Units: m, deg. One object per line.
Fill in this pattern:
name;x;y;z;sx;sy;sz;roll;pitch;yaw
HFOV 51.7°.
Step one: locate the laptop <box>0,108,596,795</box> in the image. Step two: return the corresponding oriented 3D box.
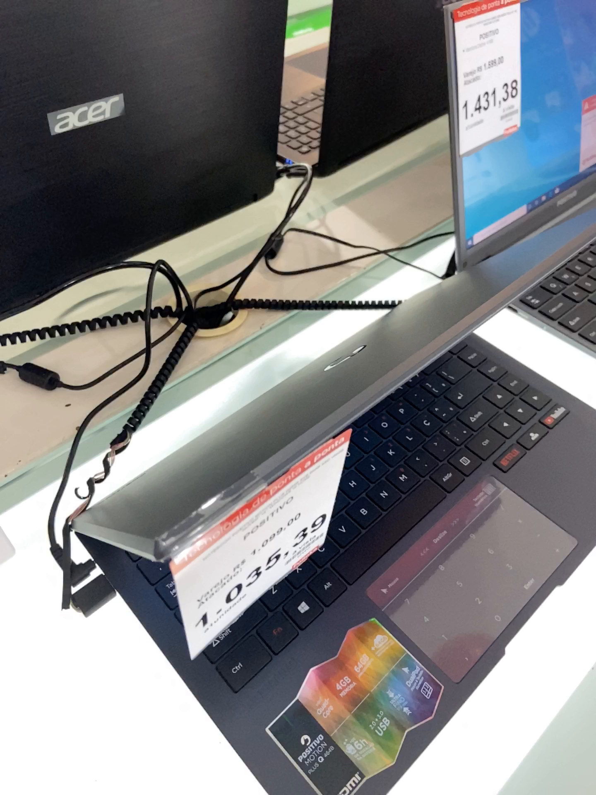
laptop;0.059;0.006;0.345;0.335;0.163;0.222;-34;57;-28
